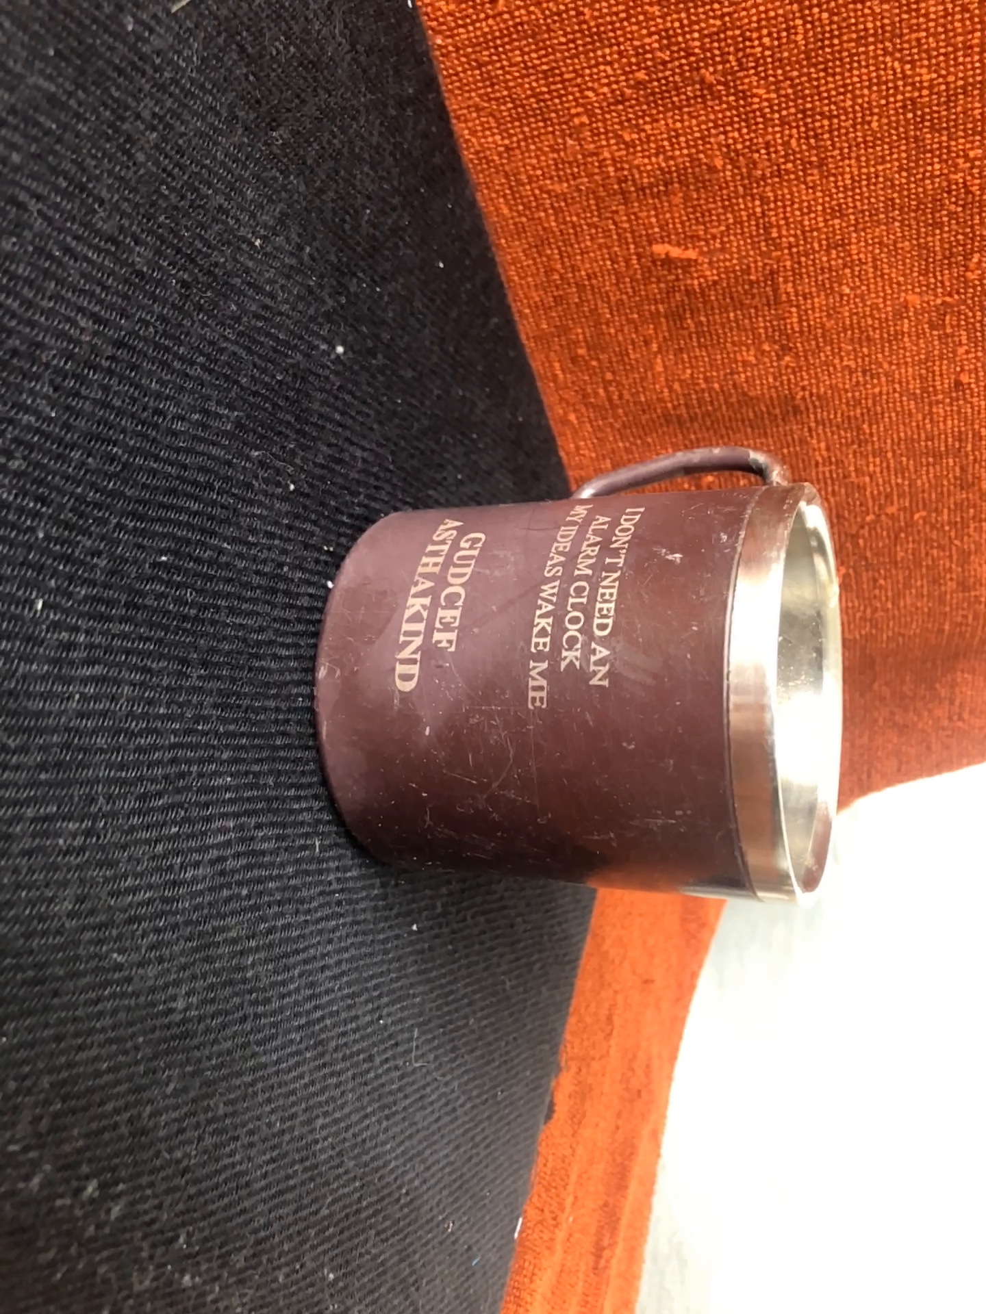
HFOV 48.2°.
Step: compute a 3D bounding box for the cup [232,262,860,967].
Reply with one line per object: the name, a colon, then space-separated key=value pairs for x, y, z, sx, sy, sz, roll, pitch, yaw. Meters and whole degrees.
cup: x=0.025 y=-0.011 z=0.237 sx=0.110 sy=0.089 sz=0.090 roll=-67 pitch=148 yaw=-41
